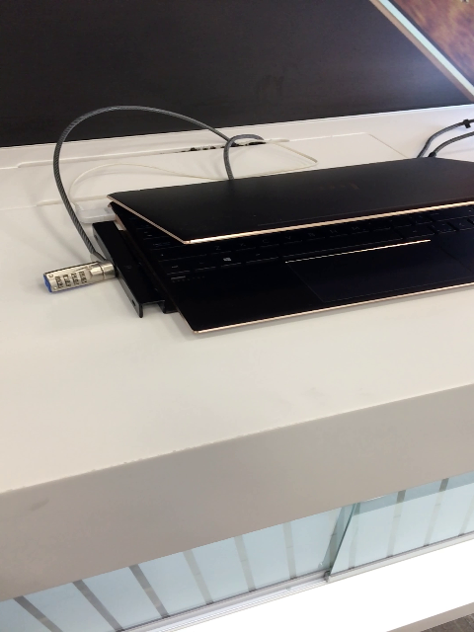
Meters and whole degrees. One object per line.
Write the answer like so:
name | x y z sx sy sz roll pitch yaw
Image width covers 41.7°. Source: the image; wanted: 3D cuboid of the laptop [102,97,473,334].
laptop | 0.090 -0.101 0.526 0.342 0.072 0.200 -12 42 -14
